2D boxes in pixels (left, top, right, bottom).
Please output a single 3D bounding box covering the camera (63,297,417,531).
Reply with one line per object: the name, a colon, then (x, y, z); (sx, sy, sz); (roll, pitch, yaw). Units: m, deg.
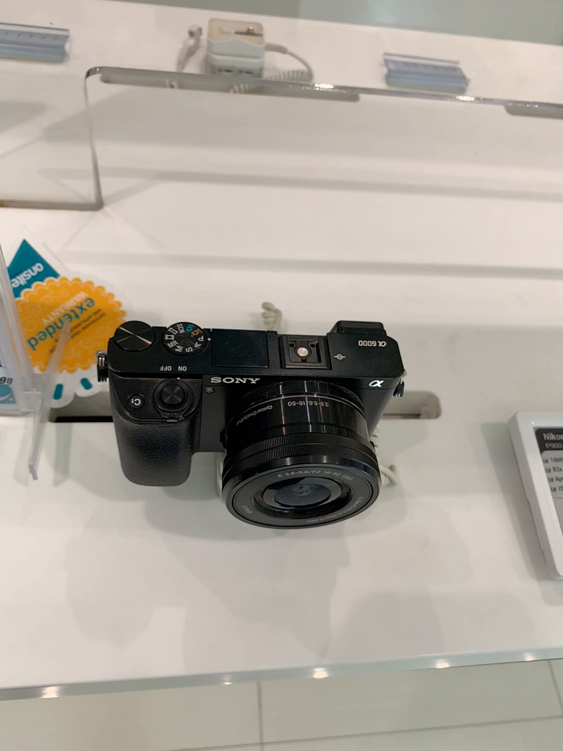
camera: (-0.016, 0.016, 0.214); (0.104, 0.063, 0.058); (1, 56, -9)
